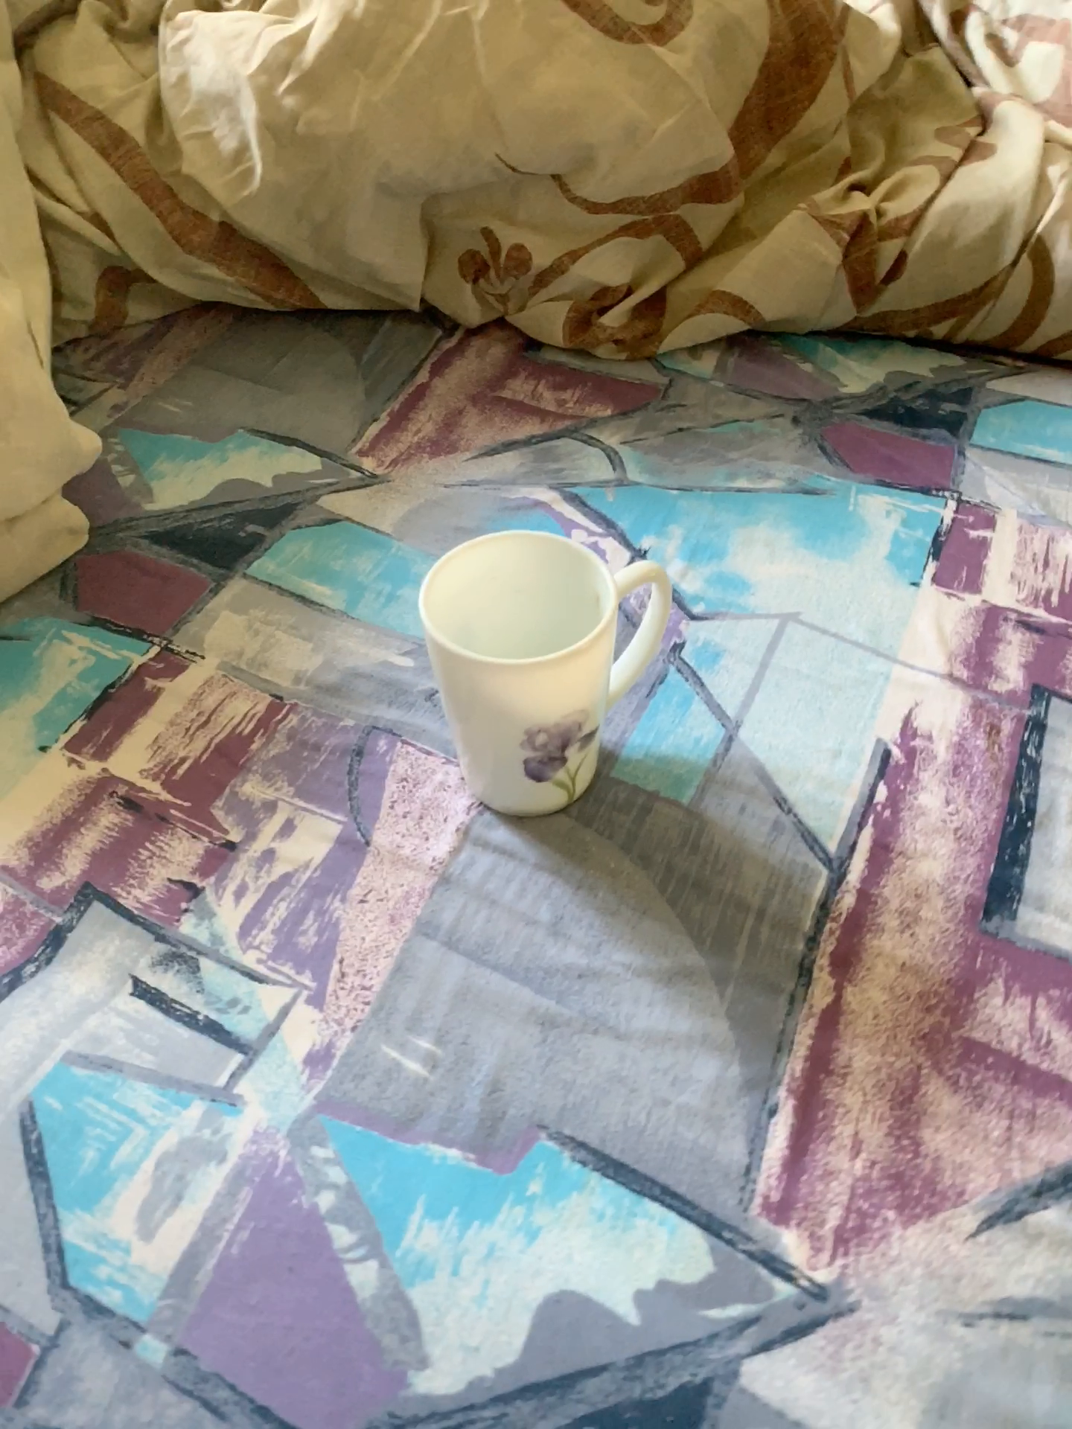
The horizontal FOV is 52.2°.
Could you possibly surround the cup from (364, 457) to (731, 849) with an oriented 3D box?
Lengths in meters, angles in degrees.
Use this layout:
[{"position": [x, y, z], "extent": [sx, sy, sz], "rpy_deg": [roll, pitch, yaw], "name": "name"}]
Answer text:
[{"position": [0.006, -0.028, 0.467], "extent": [0.120, 0.099, 0.080], "rpy_deg": [-29, 53, -21], "name": "cup"}]
